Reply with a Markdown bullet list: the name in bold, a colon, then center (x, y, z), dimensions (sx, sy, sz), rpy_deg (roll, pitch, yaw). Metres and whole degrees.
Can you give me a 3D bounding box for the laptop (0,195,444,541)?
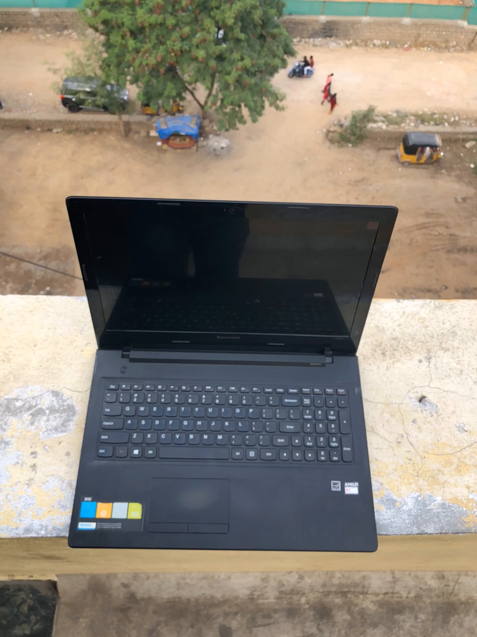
- **laptop**: center (-0.015, 0.068, 0.612), dimensions (0.366, 0.230, 0.330), rpy_deg (1, 62, -3)
